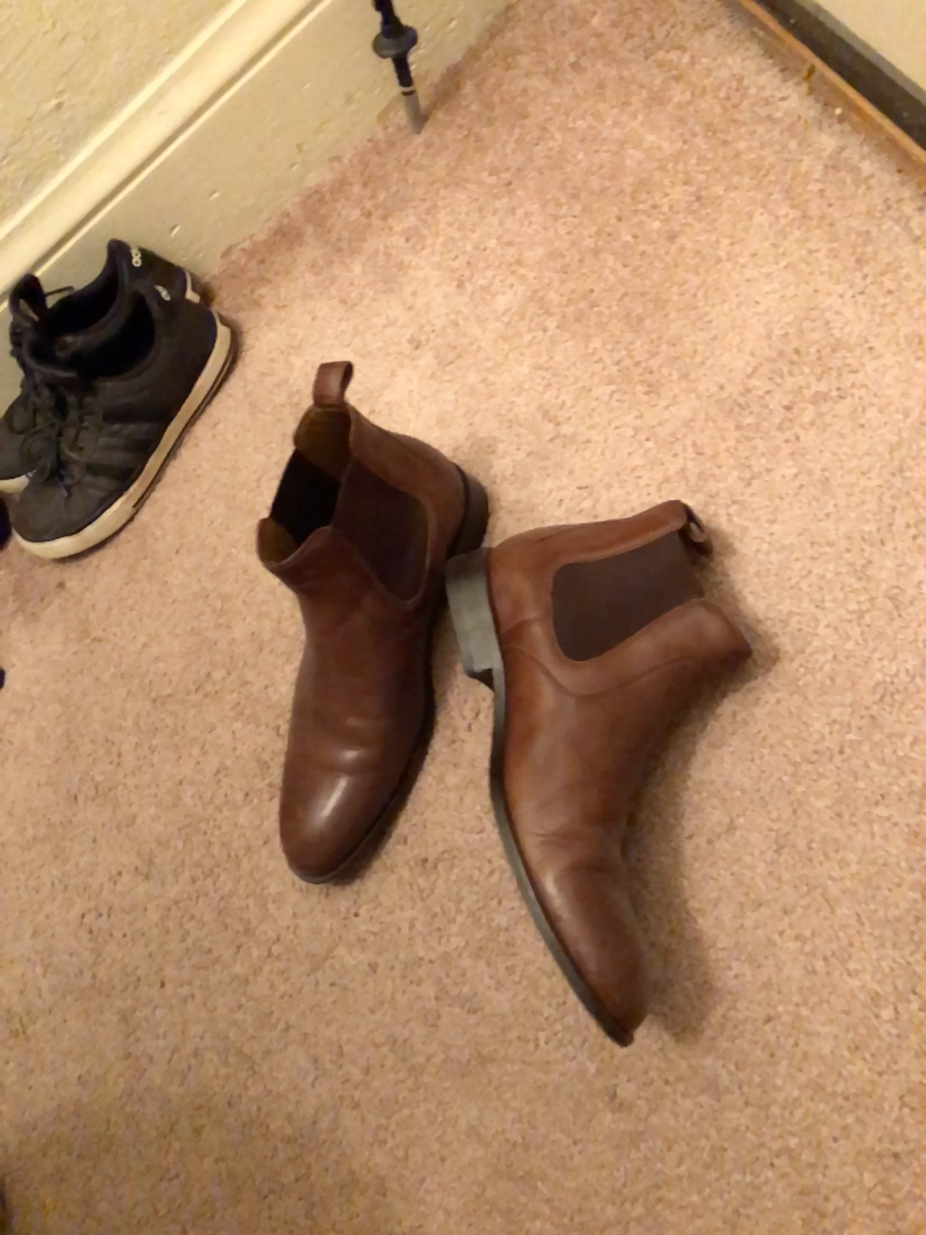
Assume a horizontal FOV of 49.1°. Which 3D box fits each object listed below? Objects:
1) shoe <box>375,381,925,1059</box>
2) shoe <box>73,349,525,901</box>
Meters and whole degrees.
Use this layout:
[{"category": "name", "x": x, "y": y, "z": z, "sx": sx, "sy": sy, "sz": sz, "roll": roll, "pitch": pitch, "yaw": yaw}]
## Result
[{"category": "shoe", "x": 0.090, "y": 0.054, "z": 0.550, "sx": 0.169, "sy": 0.119, "sz": 0.297, "roll": -29, "pitch": 61, "yaw": 18}, {"category": "shoe", "x": -0.090, "y": 0.008, "z": 0.636, "sx": 0.109, "sy": 0.159, "sz": 0.296, "roll": 14, "pitch": 80, "yaw": 34}]
